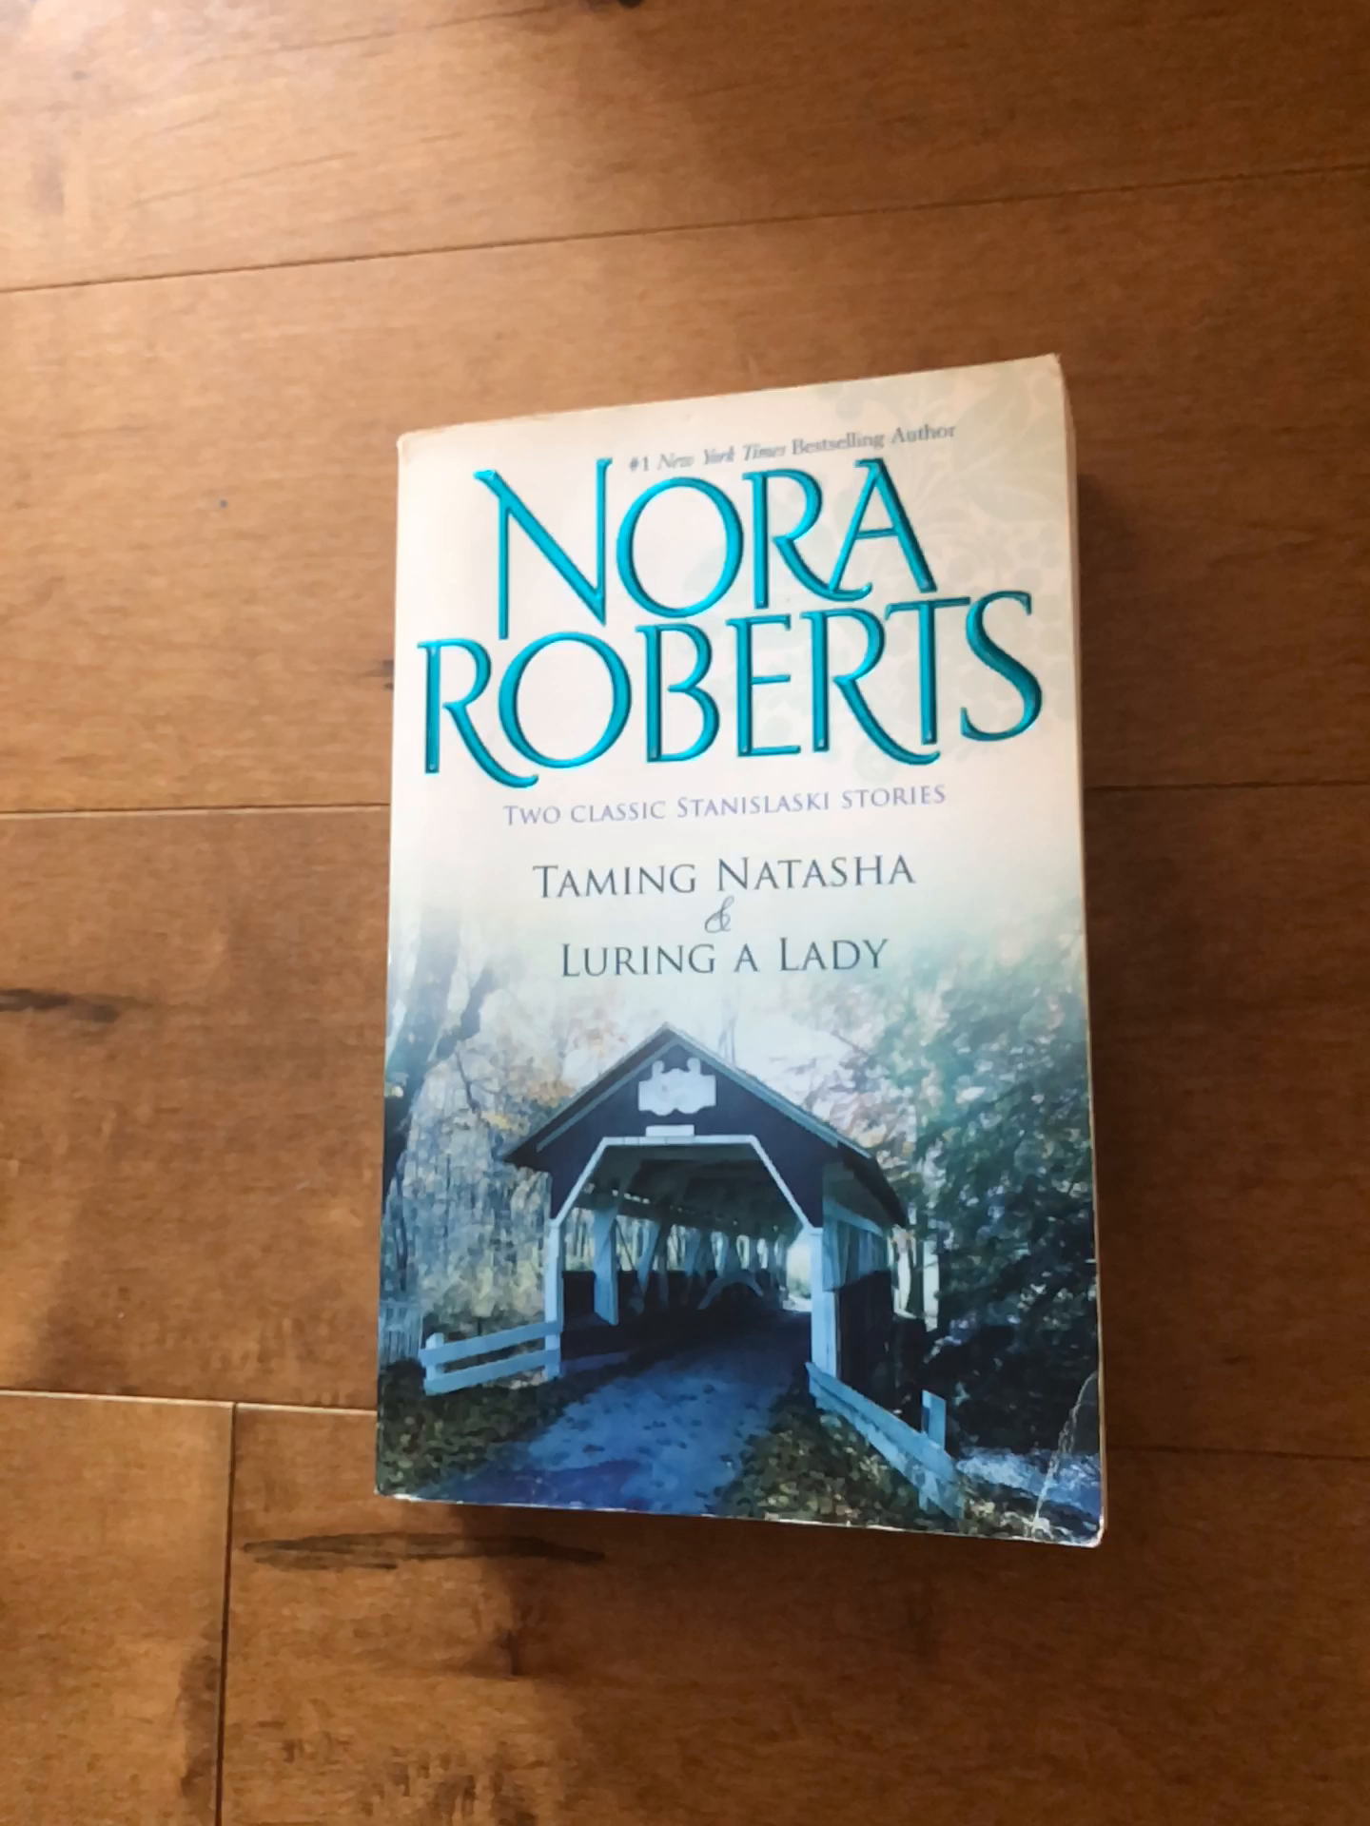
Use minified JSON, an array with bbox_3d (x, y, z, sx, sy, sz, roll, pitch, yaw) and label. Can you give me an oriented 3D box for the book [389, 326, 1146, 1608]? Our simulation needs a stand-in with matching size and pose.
[{"bbox_3d":[0.014,0.008,0.293,0.130,0.040,0.220,-2,83,11],"label":"book"}]
